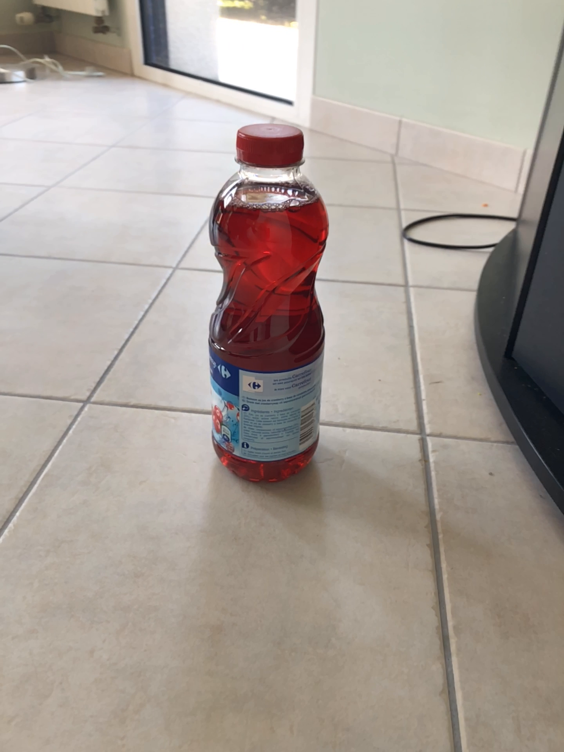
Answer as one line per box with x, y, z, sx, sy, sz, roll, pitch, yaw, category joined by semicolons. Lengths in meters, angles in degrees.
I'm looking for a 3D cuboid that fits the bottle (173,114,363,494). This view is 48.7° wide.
-0.006;-0.043;0.432;0.100;0.239;0.091;5;33;5;bottle
